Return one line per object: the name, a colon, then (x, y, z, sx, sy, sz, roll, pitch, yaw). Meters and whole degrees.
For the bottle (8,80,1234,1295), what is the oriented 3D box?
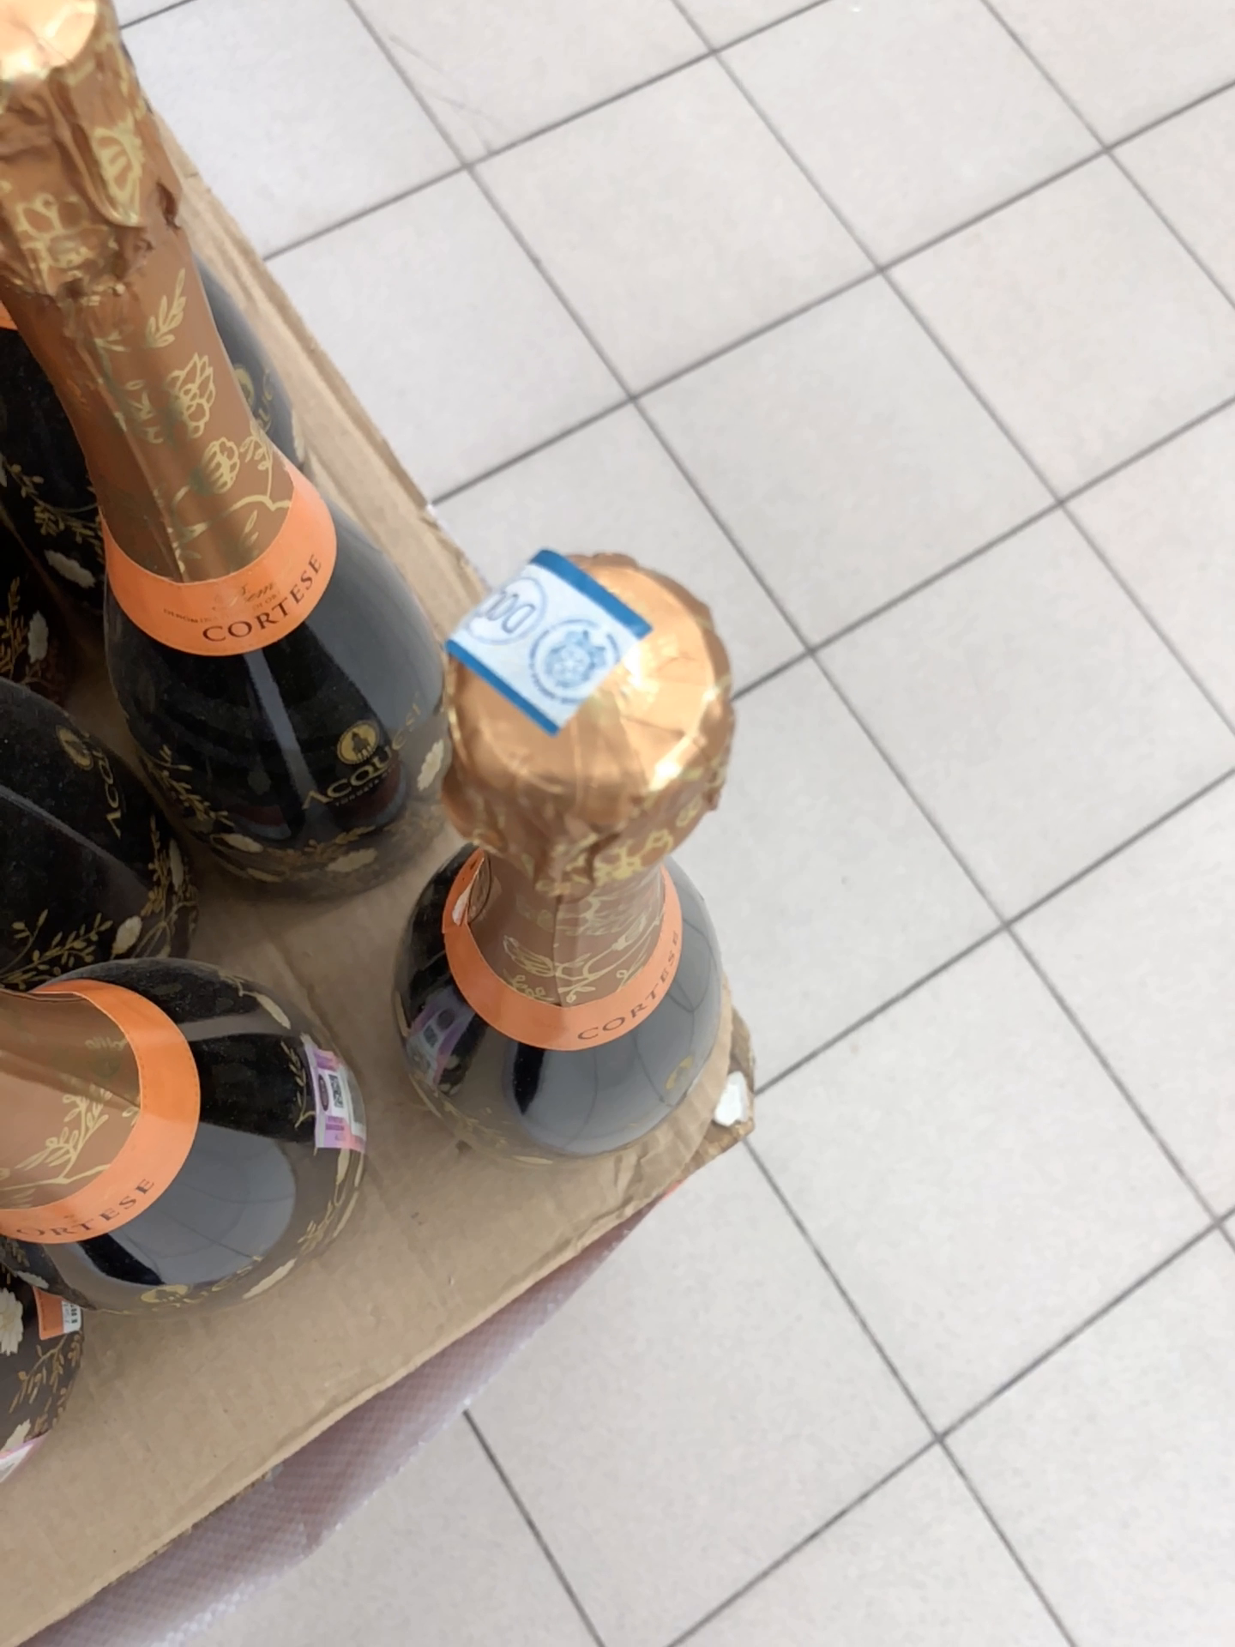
bottle: (-0.007, 0.019, 0.303, 0.100, 0.320, 0.100, 1, 74, -5)
